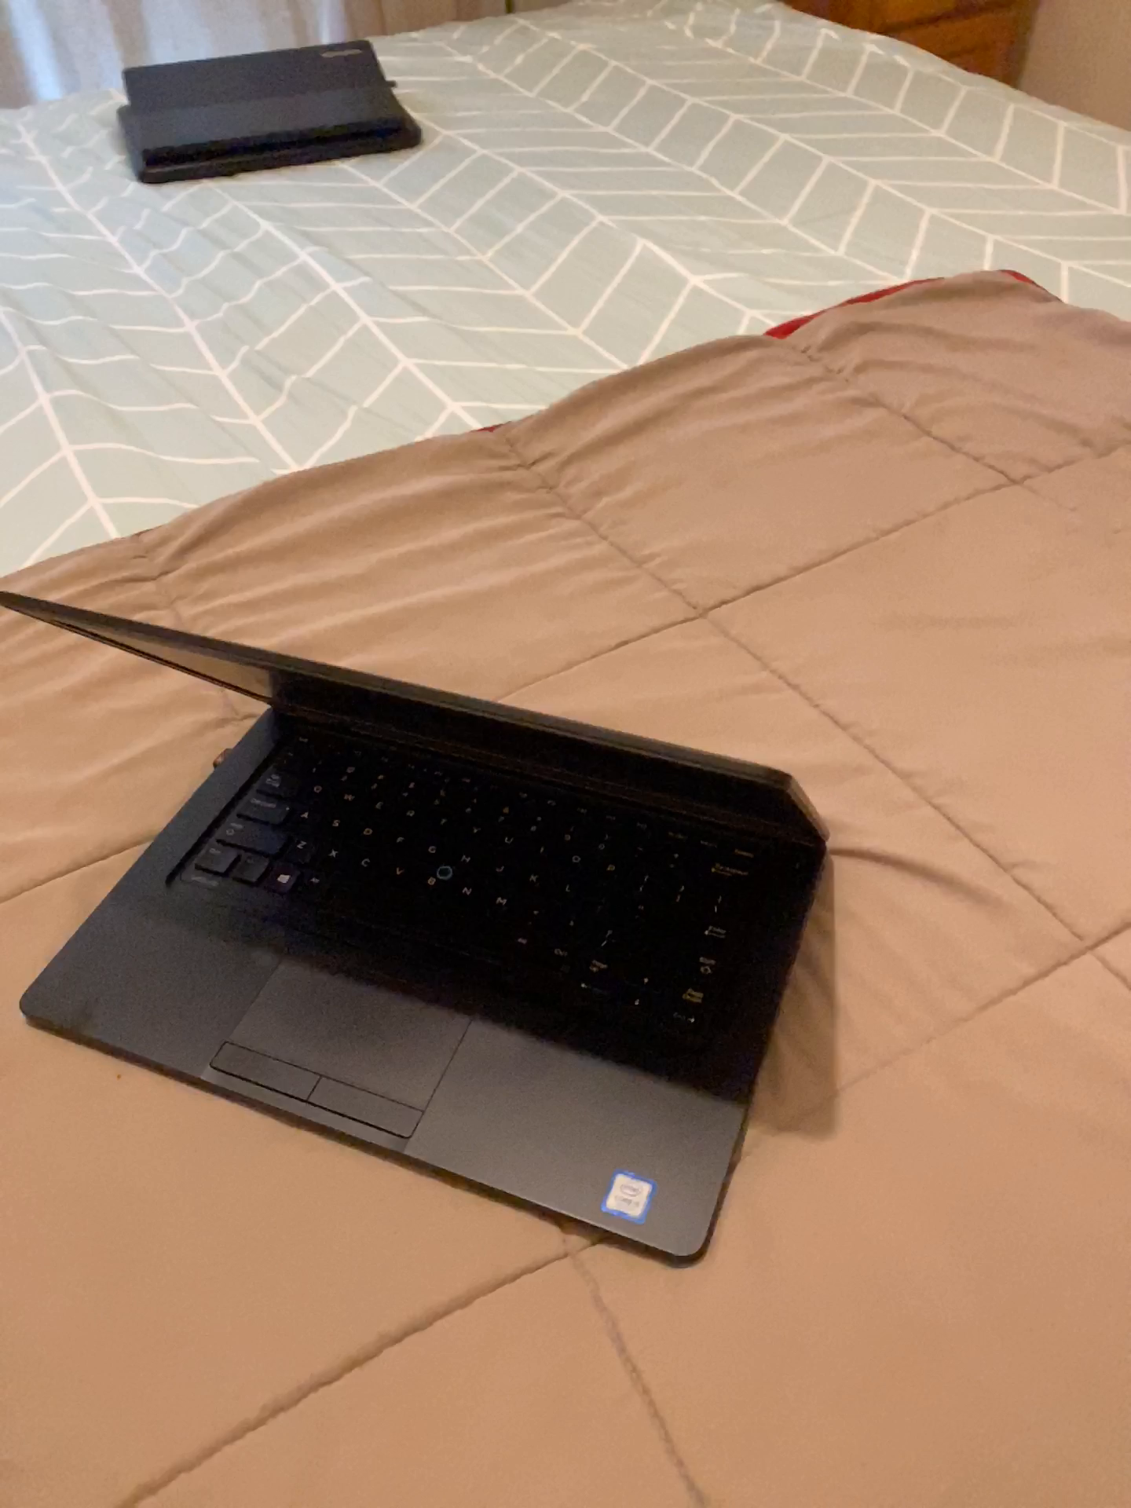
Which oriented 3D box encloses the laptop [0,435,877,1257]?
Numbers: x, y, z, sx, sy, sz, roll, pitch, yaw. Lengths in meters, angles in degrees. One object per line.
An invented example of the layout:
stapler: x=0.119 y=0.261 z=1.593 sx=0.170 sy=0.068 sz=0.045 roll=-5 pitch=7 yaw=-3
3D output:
laptop: x=-0.066 y=0.018 z=0.507 sx=0.334 sy=0.183 sz=0.227 roll=14 pitch=47 yaw=18
